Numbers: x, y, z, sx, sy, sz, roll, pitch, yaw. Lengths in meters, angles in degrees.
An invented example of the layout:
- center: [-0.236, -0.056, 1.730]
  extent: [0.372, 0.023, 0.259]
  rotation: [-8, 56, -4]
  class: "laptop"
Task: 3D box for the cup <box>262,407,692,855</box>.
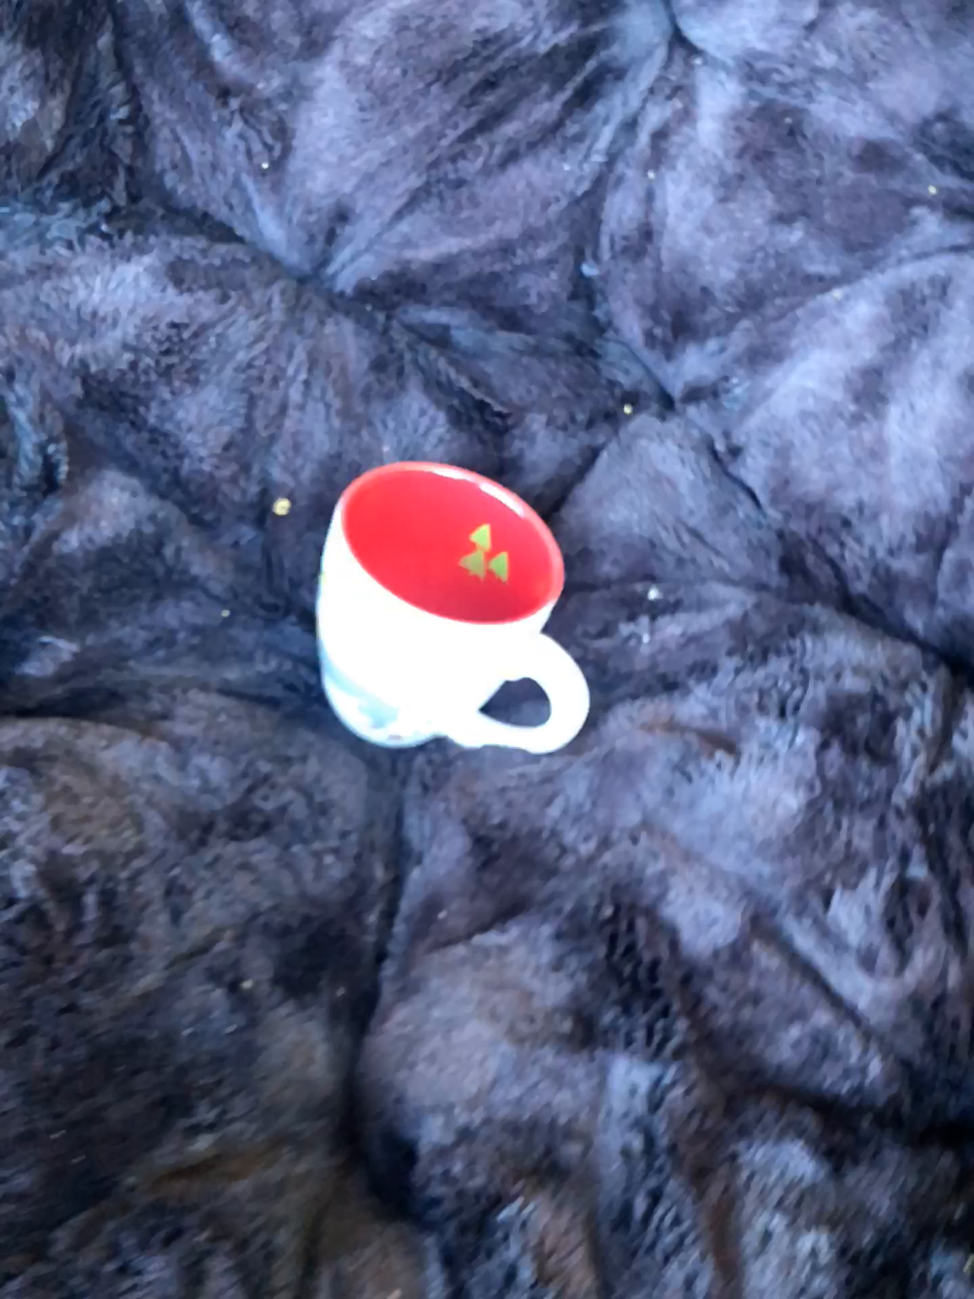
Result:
- center: [-0.009, -0.010, 0.493]
  extent: [0.140, 0.110, 0.100]
  rotation: [35, 49, 13]
  class: "cup"
